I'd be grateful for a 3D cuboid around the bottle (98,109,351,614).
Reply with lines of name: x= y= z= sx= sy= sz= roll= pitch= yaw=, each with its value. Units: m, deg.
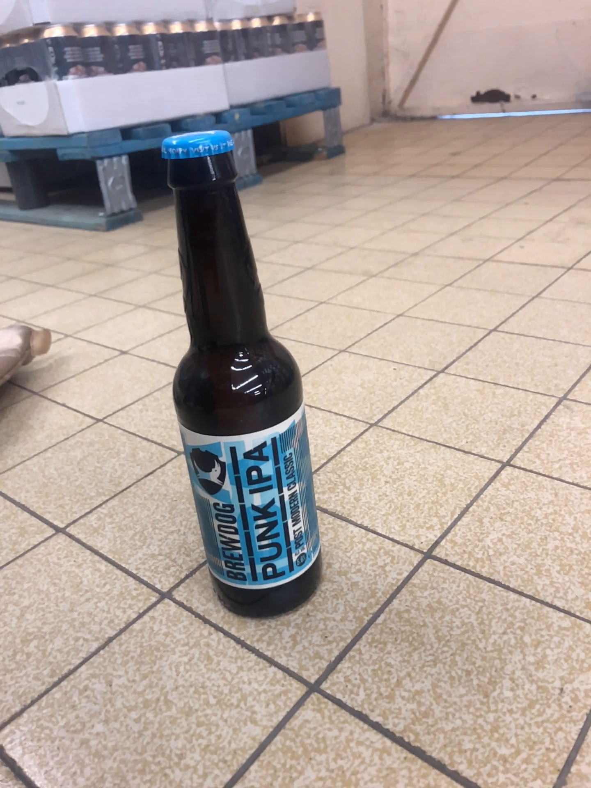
bottle: x=-0.019 y=-0.008 z=0.292 sx=0.070 sy=0.209 sz=0.070 roll=-5 pitch=26 yaw=3
